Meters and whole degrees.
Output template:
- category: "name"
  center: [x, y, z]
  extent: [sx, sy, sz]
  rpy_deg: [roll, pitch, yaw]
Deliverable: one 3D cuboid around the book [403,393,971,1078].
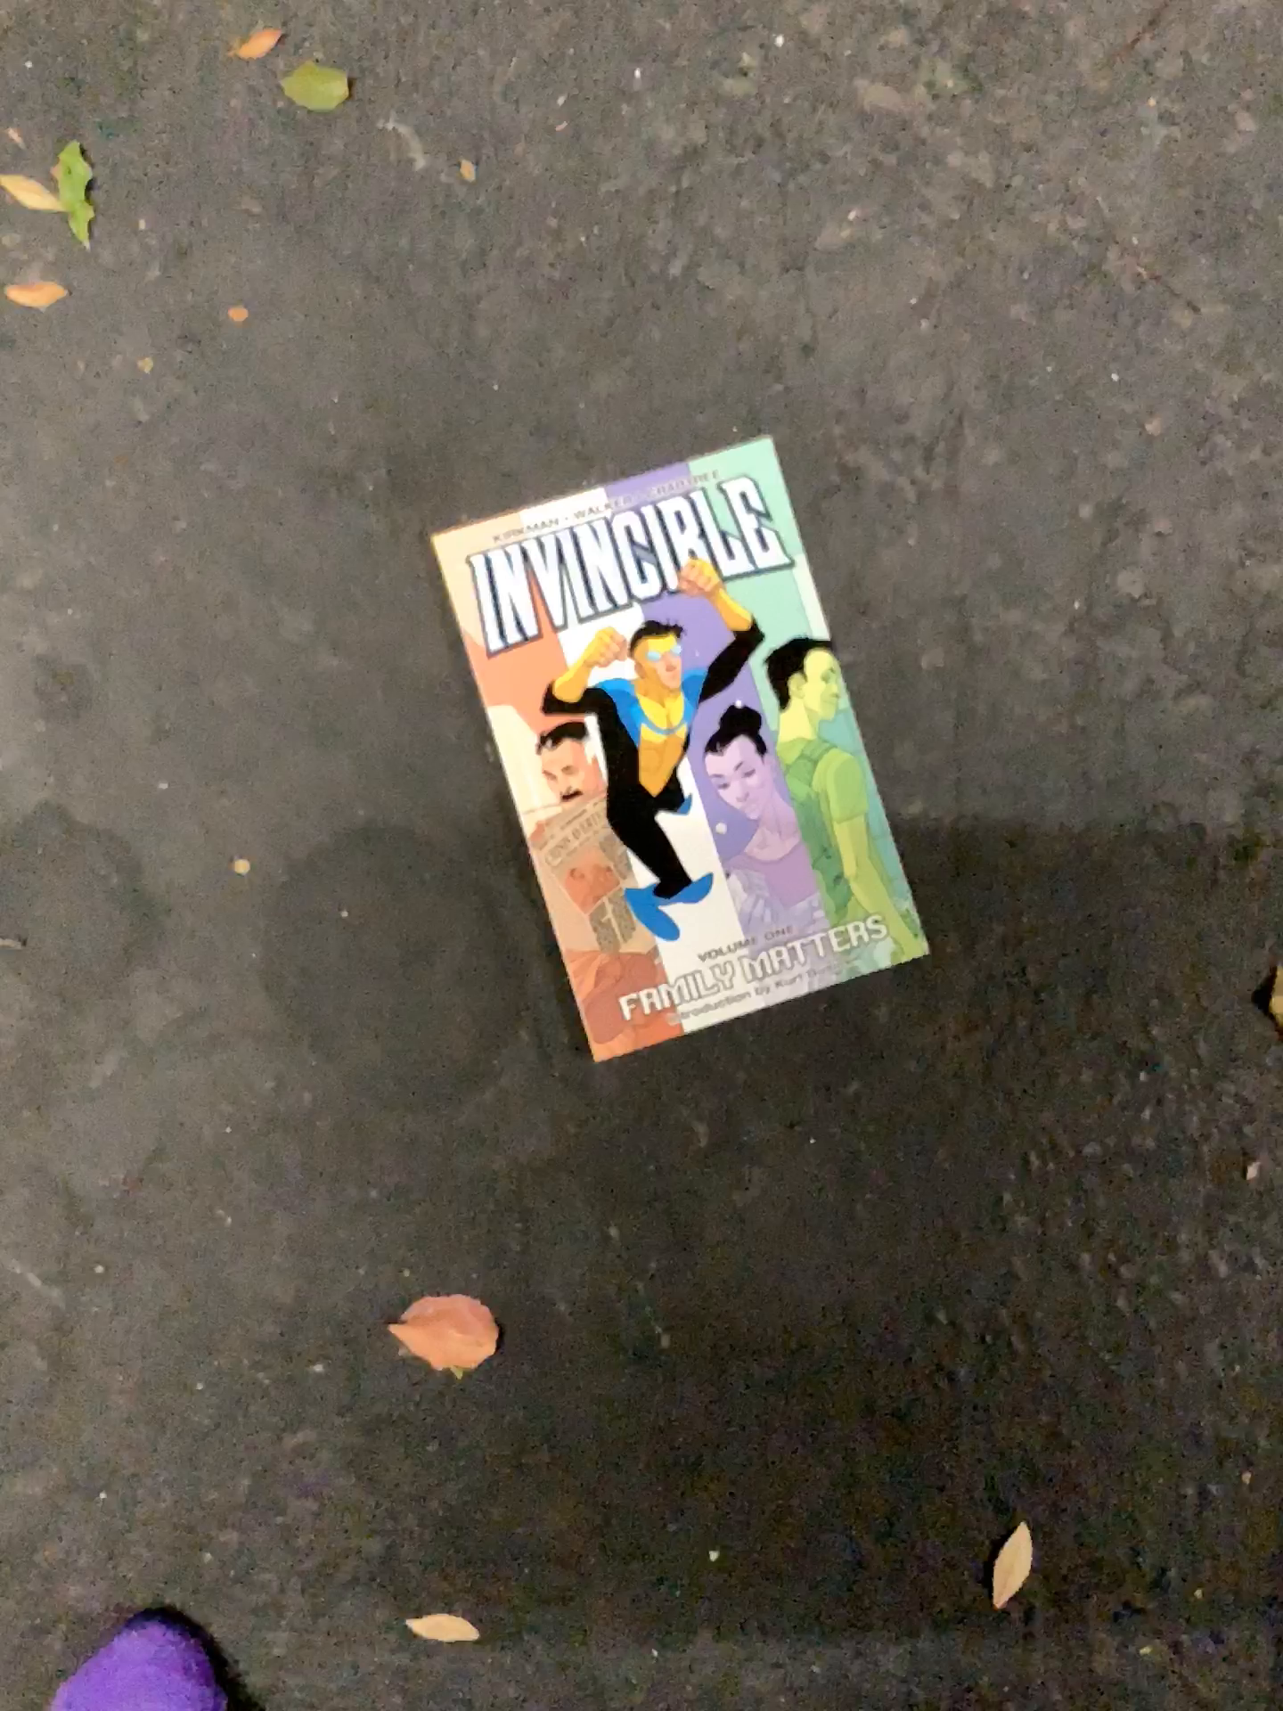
- category: "book"
  center: [0.020, -0.057, 0.661]
  extent: [0.180, 0.020, 0.270]
  rpy_deg: [-19, 87, -6]
